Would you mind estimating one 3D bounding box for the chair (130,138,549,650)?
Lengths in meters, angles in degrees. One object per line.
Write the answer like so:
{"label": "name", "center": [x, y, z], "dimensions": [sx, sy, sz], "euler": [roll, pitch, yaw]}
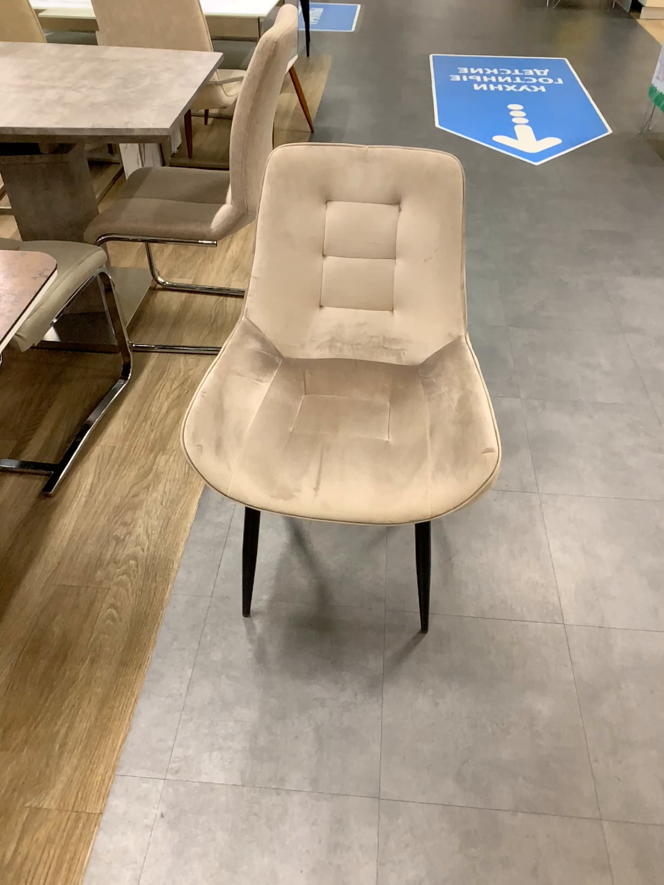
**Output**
{"label": "chair", "center": [0.038, -0.091, 1.412], "dimensions": [0.566, 0.818, 0.613], "euler": [5, 42, 5]}
